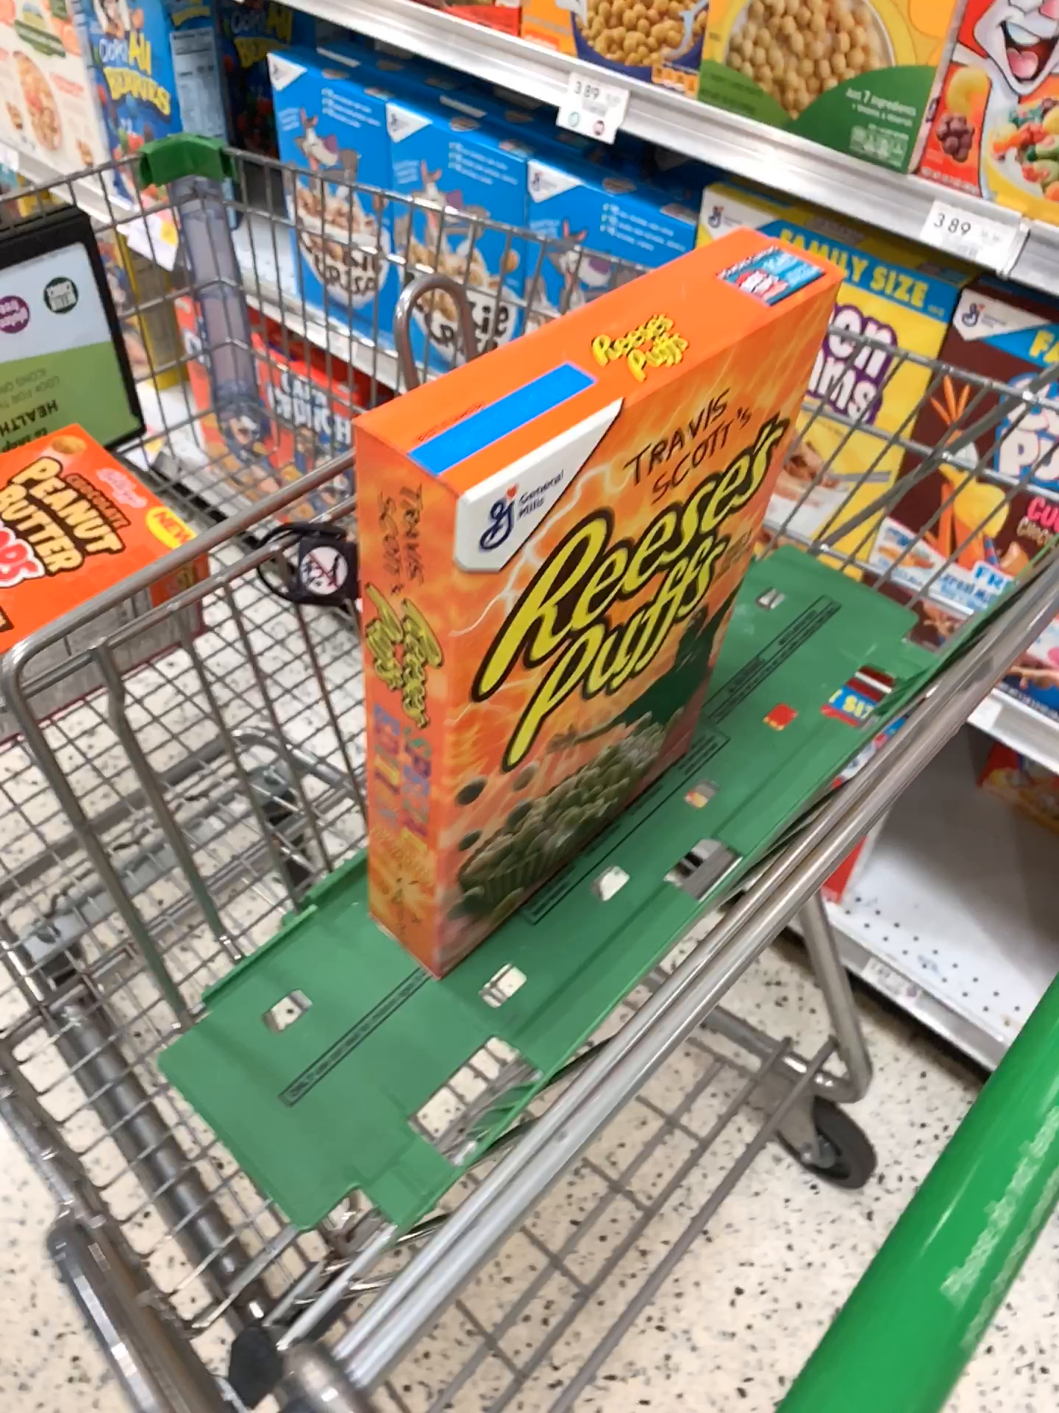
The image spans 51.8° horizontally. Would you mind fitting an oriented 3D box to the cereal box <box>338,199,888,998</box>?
[{"bbox_3d":[0.026,-0.030,0.446,0.050,0.277,0.211,37,55,24],"label":"cereal box"}]
